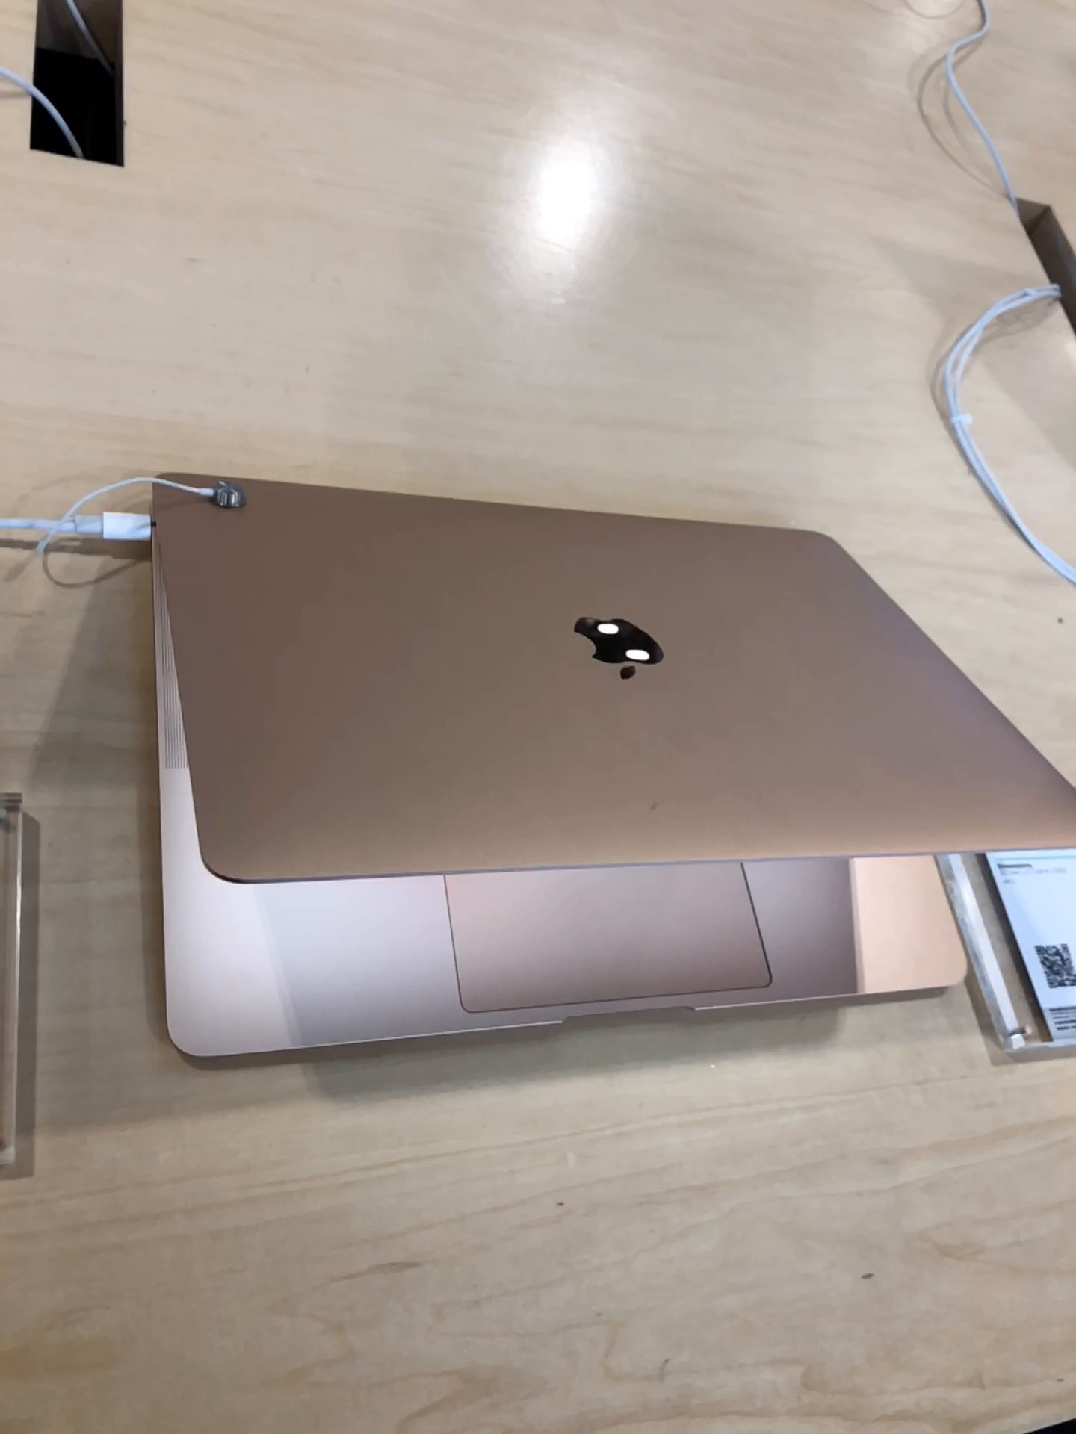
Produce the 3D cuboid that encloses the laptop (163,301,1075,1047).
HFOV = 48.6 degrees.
[{"bbox_3d":[0.027,-0.015,0.408,0.288,0.093,0.203,1,61,-23],"label":"laptop"}]
